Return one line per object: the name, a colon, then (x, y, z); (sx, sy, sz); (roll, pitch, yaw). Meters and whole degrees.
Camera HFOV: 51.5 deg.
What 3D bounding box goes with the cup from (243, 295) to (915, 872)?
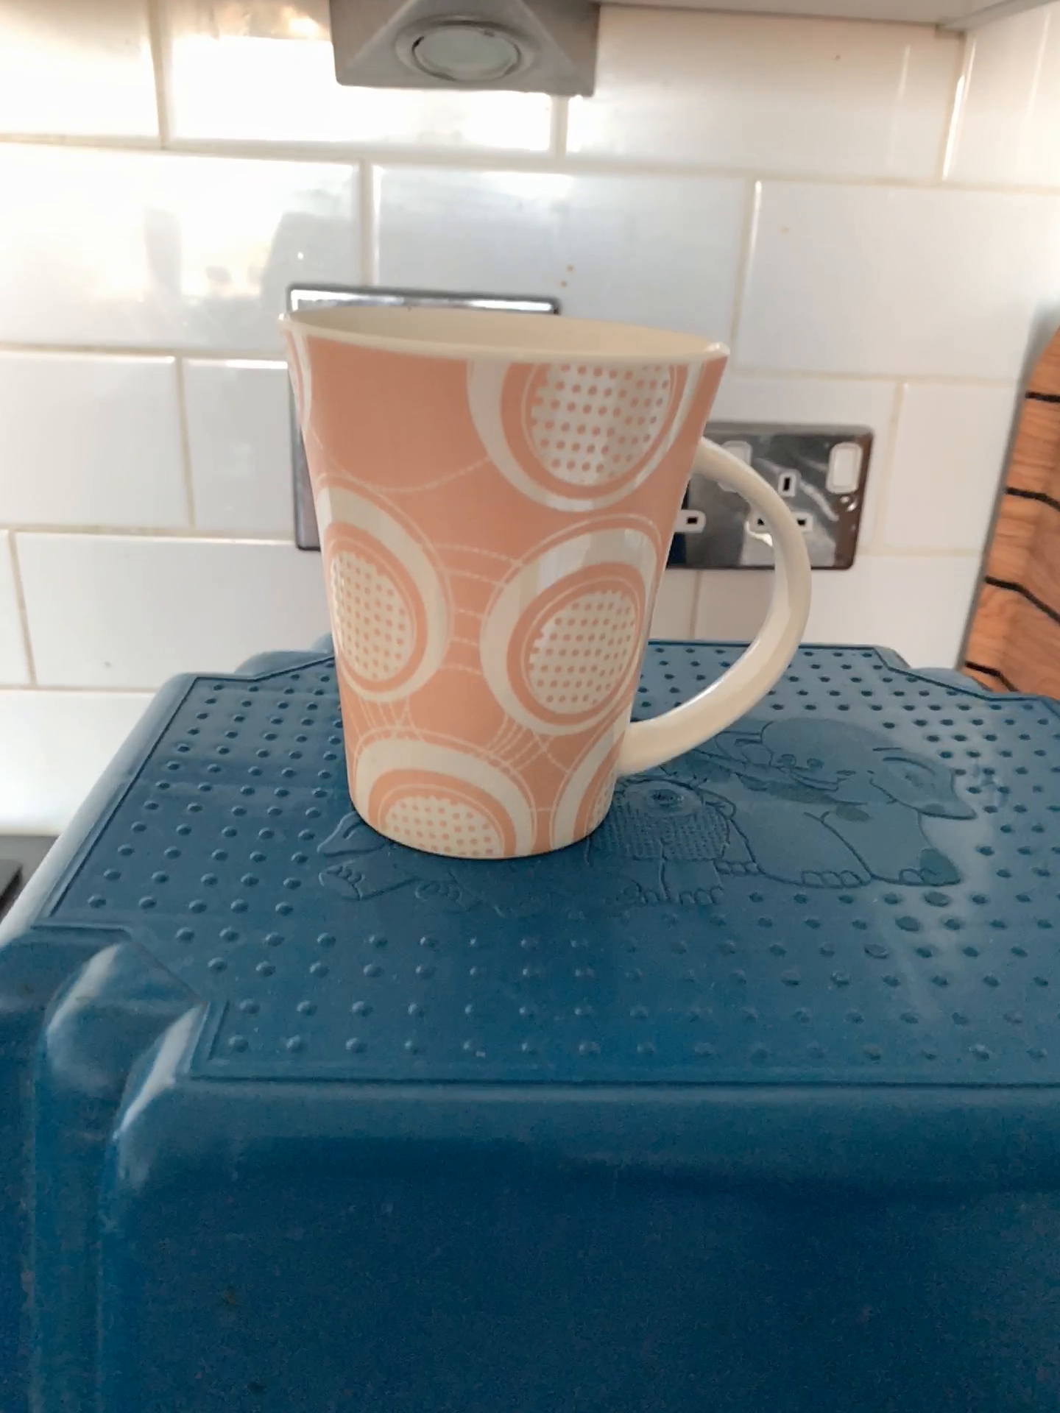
cup: (0.005, -0.030, 0.244); (0.116, 0.105, 0.078); (1, 24, -4)
